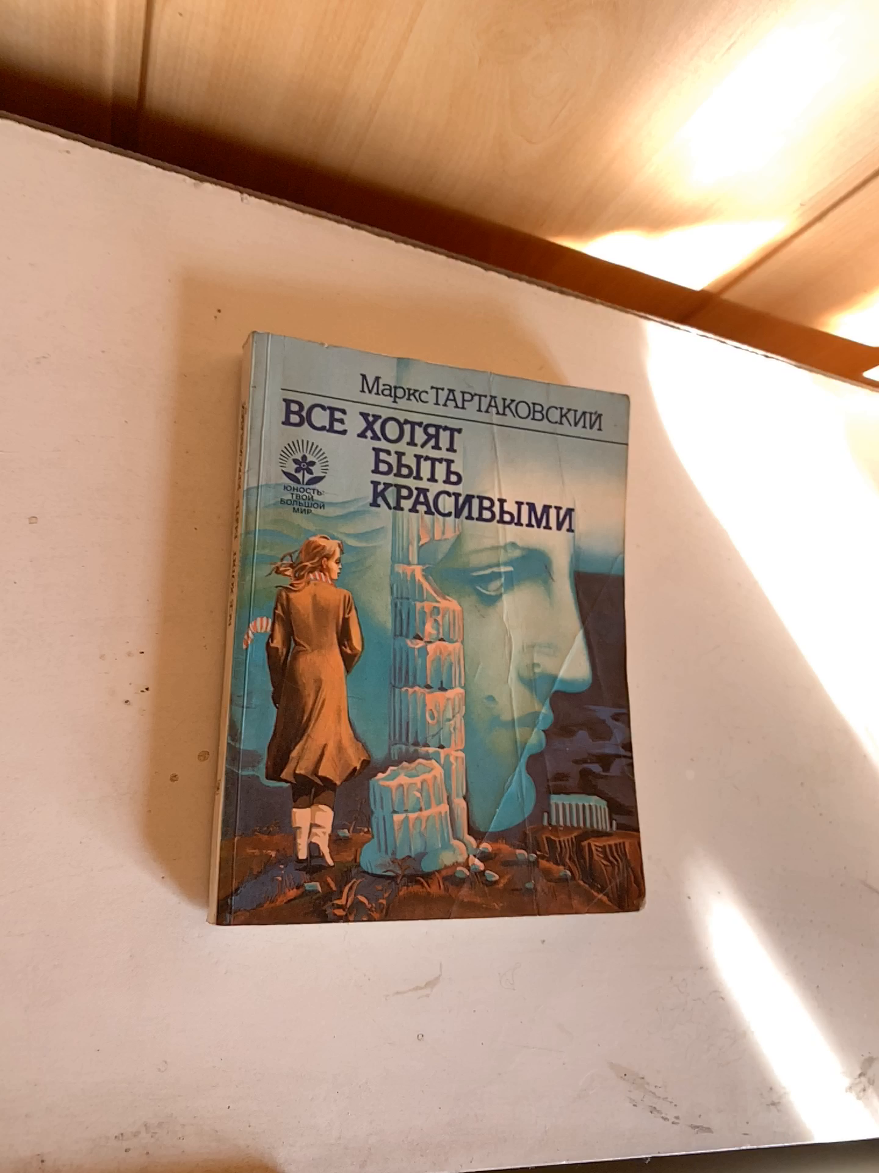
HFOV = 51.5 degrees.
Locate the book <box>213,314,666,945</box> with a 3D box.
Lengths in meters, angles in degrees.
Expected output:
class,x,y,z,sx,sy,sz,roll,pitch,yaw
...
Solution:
class,x,y,z,sx,sy,sz,roll,pitch,yaw
book,0.004,0.011,0.254,0.120,0.013,0.160,4,77,-19
